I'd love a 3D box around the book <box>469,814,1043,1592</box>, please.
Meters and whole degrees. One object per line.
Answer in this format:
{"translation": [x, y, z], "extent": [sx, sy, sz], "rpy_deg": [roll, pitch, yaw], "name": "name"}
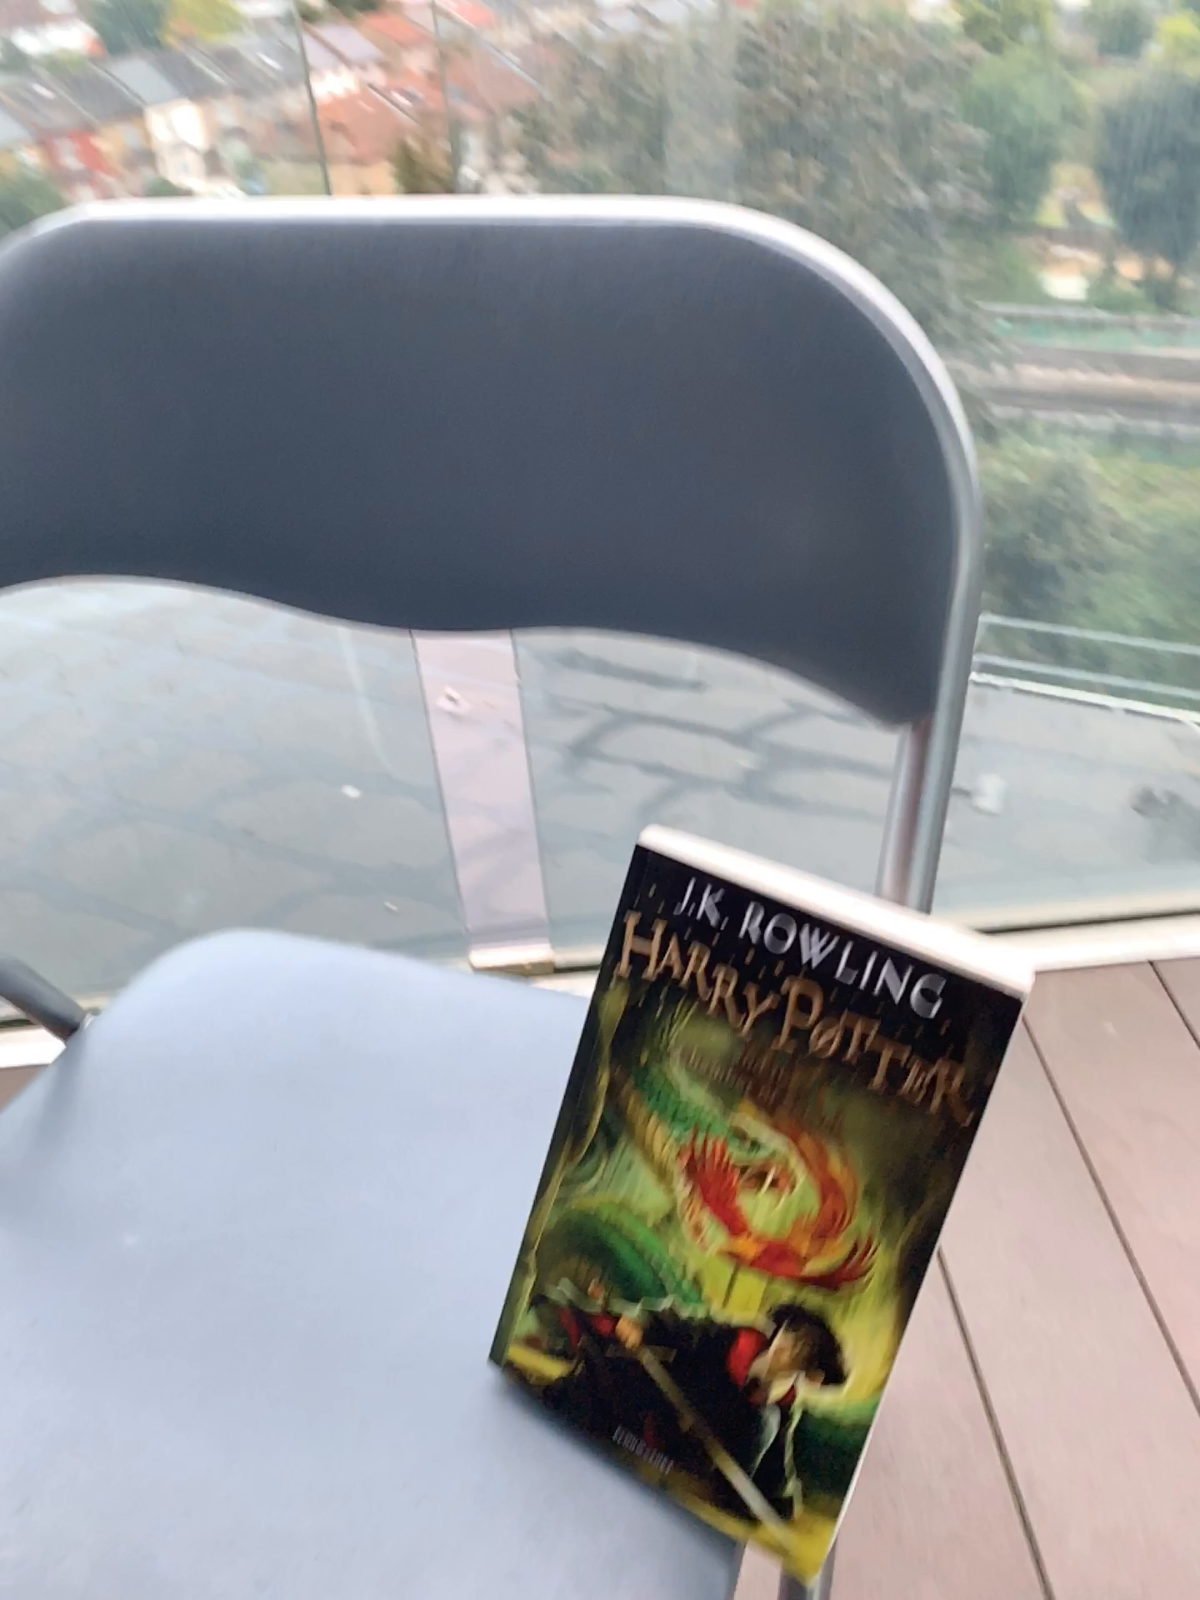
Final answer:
{"translation": [0.043, 0.122, 0.403], "extent": [0.140, 0.199, 0.040], "rpy_deg": [19, 14, 29], "name": "book"}
